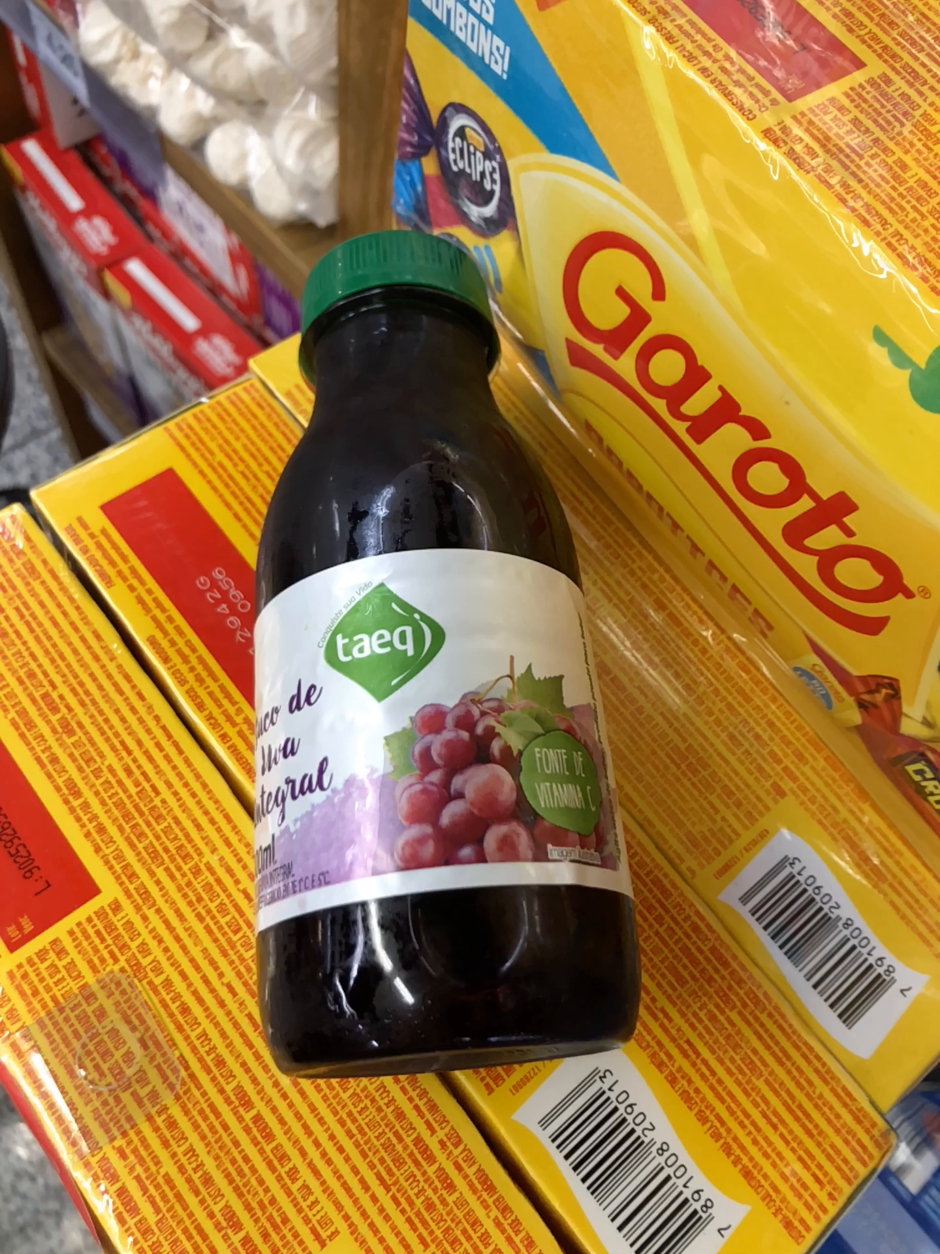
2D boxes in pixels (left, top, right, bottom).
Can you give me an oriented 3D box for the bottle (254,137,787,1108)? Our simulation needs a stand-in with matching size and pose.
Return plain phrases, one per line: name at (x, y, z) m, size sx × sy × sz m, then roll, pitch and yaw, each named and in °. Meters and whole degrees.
bottle at (-0.002, -0.008, 0.195) m, size 0.070 × 0.050 × 0.171 m, roll -1°, pitch 64°, yaw -9°
